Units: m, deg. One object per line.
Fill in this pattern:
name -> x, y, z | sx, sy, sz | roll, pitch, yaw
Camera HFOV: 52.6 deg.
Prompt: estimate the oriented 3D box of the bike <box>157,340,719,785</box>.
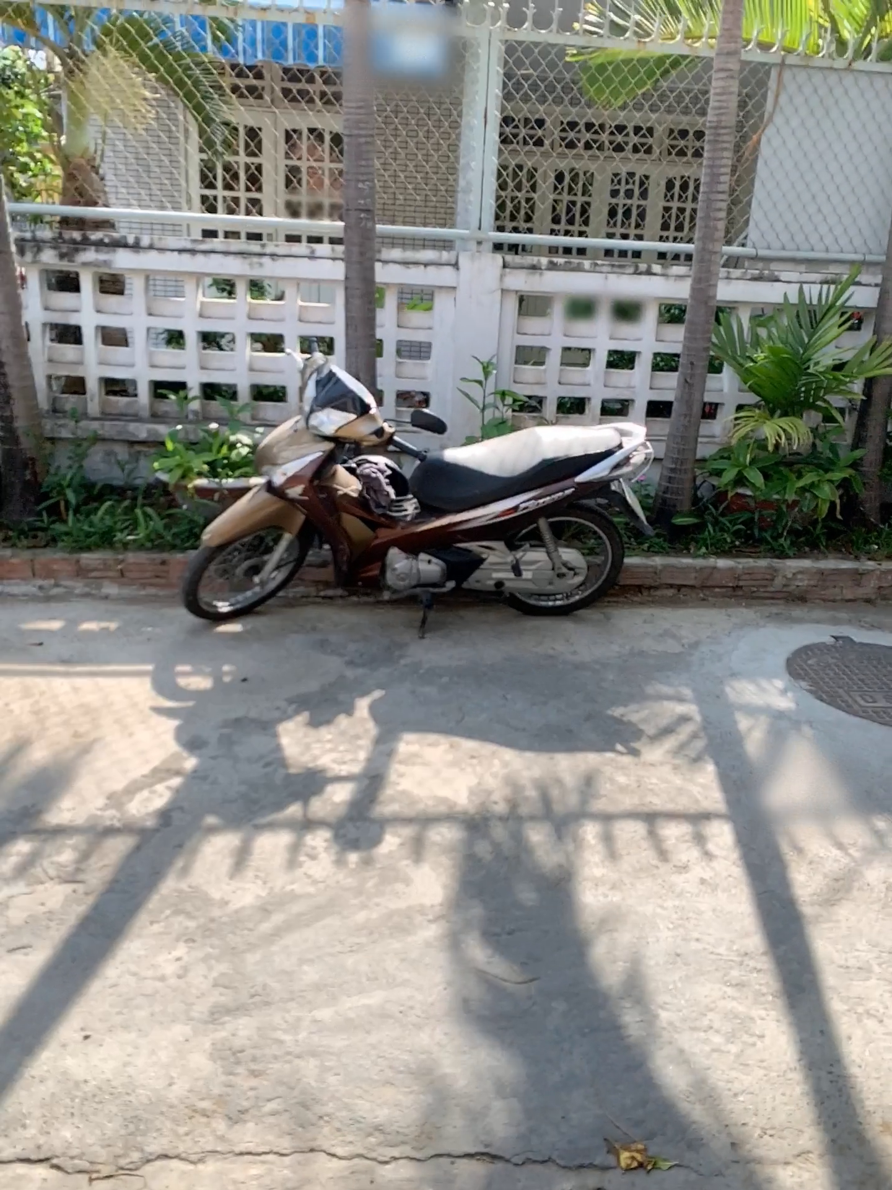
bike -> -0.023, -0.202, 3.510 | 1.975, 1.442, 0.614 | -4, 20, -19
